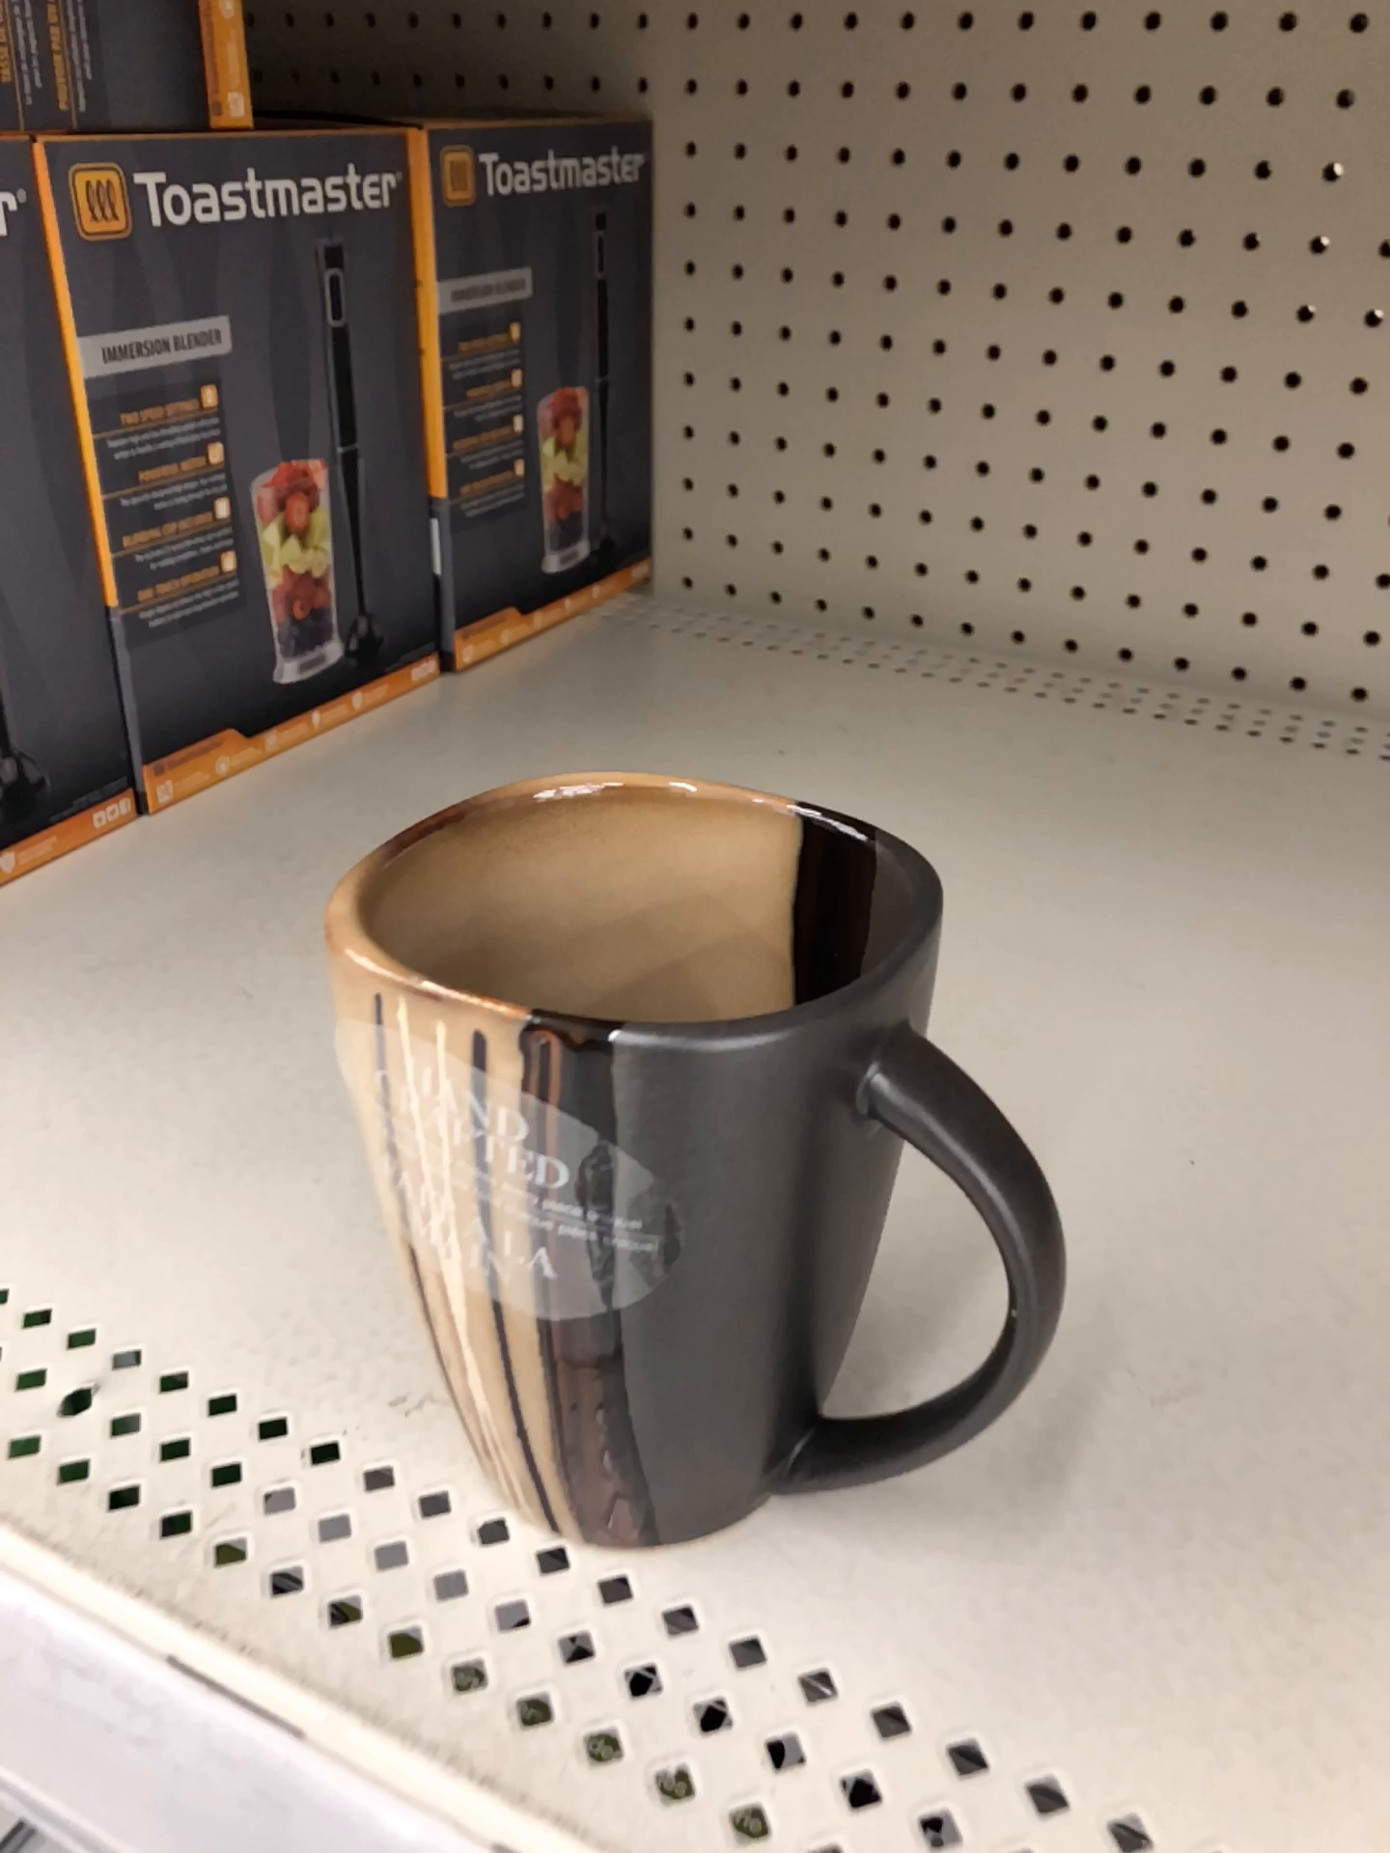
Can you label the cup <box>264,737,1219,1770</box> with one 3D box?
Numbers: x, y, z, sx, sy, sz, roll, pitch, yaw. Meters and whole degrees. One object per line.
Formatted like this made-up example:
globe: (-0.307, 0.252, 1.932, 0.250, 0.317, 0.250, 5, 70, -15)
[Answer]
cup: (0.010, 0.045, 0.260, 0.120, 0.110, 0.087, 14, 31, 23)
